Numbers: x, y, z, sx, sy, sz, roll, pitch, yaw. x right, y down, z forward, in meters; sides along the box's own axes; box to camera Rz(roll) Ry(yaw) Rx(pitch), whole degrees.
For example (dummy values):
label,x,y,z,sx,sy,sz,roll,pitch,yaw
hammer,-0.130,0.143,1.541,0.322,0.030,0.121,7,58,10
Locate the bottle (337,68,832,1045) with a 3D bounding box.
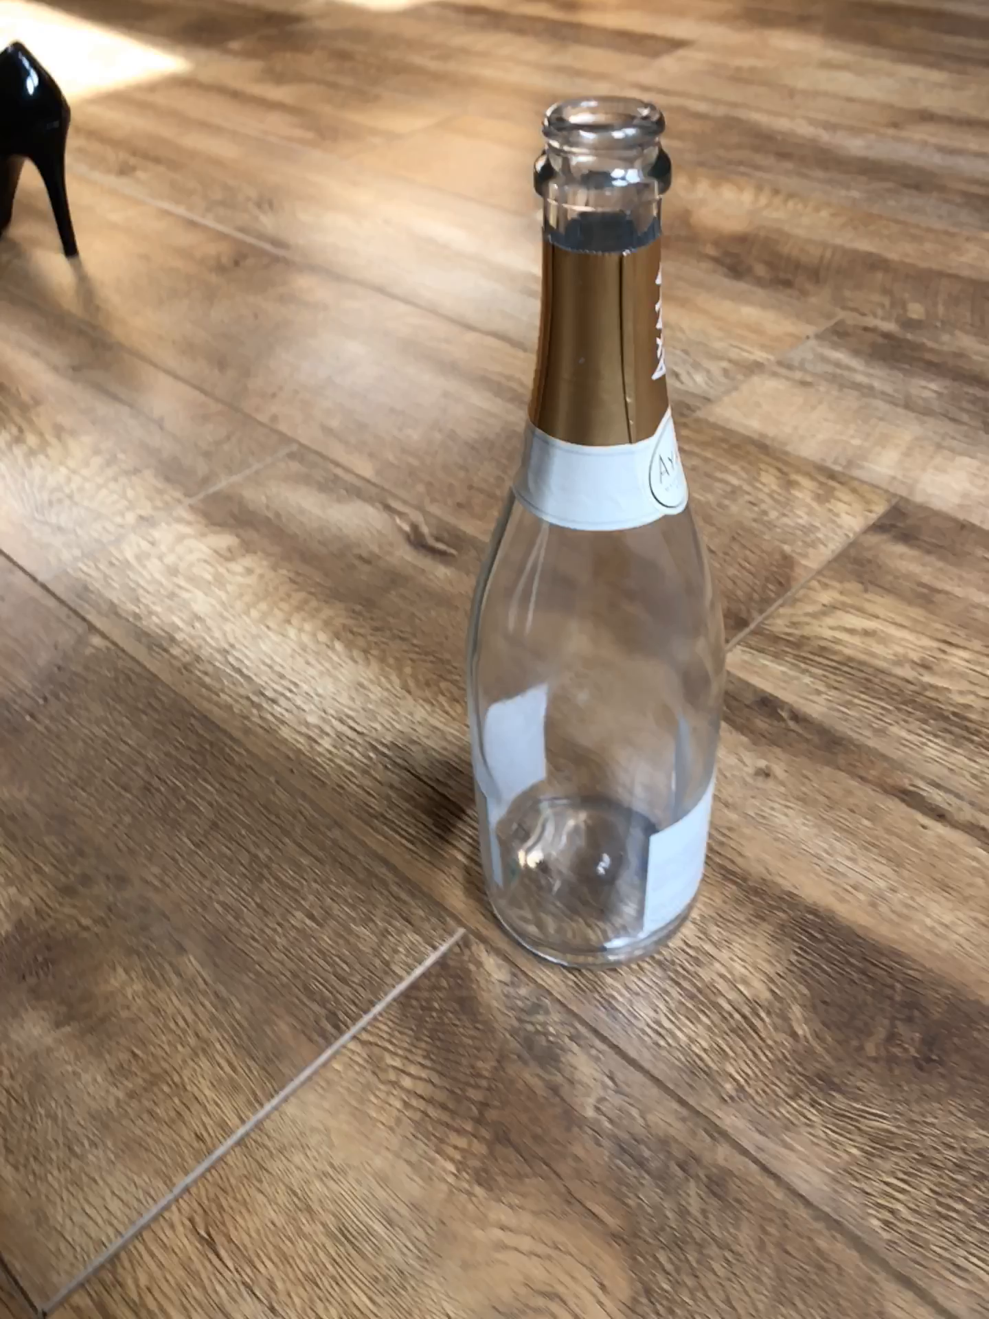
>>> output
label,x,y,z,sx,sy,sz,roll,pitch,yaw
bottle,0.032,-0.008,0.343,0.090,0.298,0.091,-2,42,2
